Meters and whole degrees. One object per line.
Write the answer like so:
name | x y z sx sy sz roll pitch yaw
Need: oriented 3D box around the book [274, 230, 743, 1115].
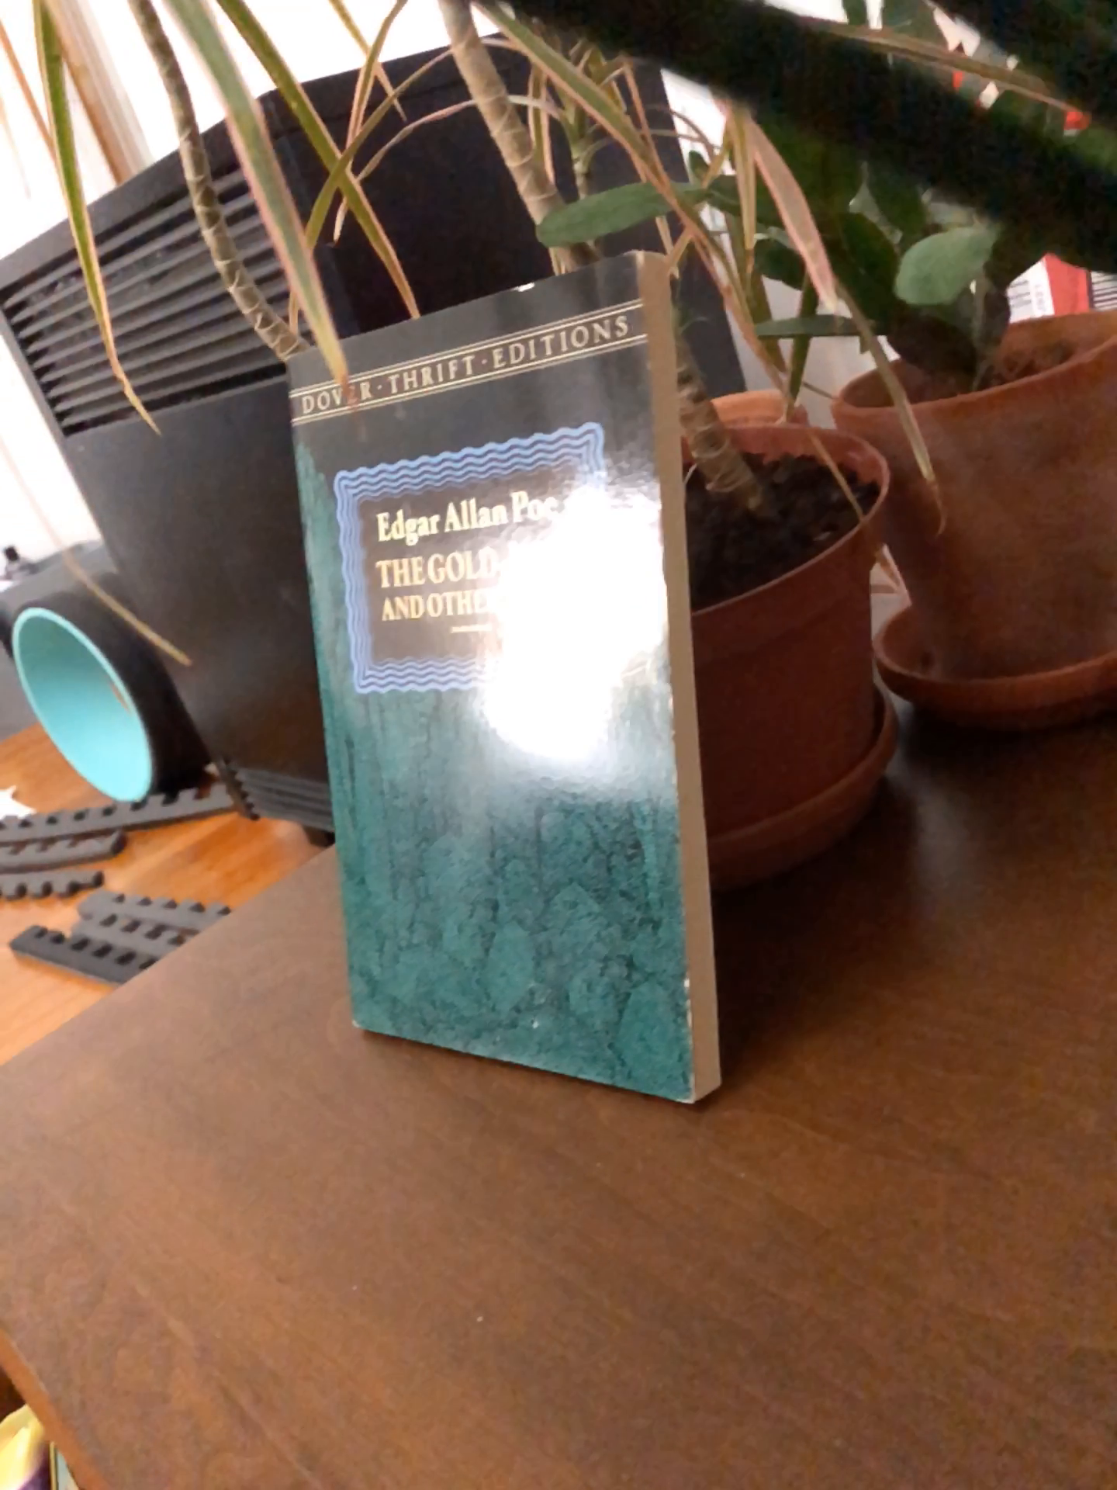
book | -0.020 -0.016 0.346 0.140 0.210 0.020 0 6 40
